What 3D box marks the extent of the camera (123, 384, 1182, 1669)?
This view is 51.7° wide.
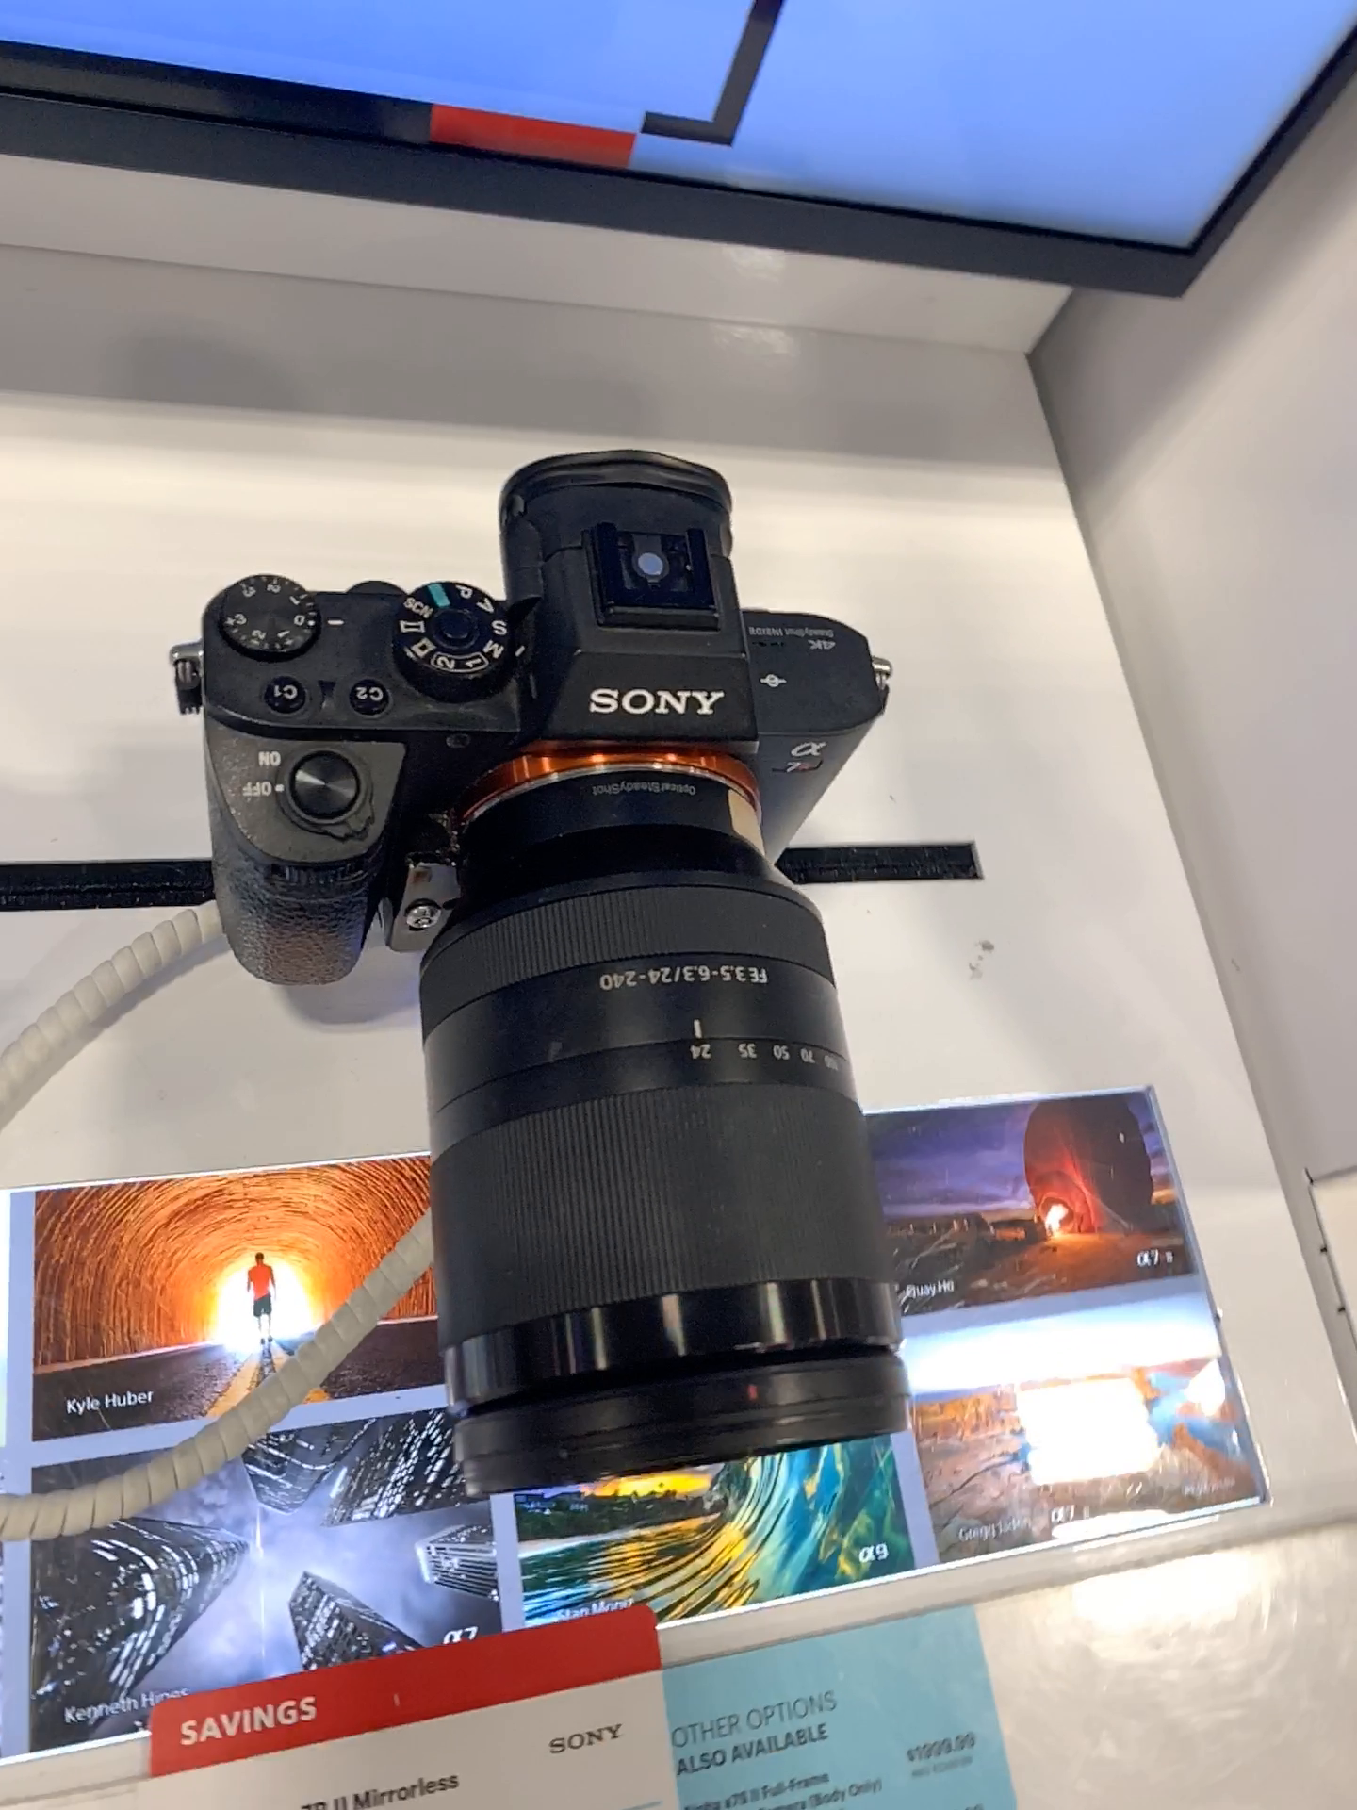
[{"bbox_3d":[-0.020,0.013,0.251,0.128,0.091,0.184,-6,69,-19],"label":"camera"}]
